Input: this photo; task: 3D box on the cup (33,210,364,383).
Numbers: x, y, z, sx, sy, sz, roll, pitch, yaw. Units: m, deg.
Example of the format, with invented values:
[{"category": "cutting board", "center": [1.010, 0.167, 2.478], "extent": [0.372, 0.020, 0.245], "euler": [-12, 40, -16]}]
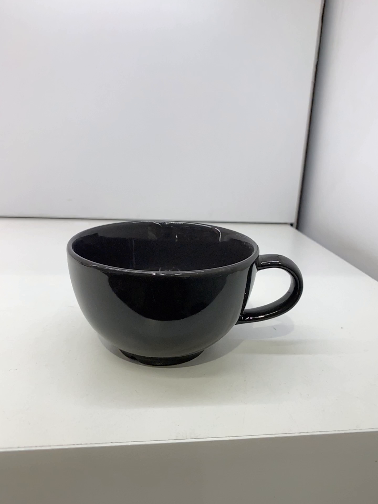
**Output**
[{"category": "cup", "center": [0.002, 0.015, 0.214], "extent": [0.130, 0.050, 0.110], "euler": [2, 16, -2]}]
